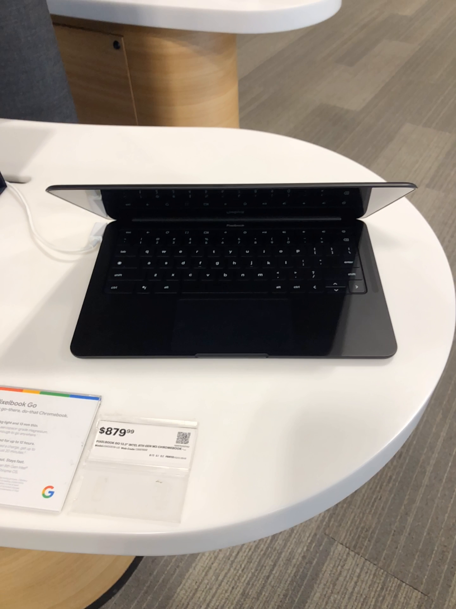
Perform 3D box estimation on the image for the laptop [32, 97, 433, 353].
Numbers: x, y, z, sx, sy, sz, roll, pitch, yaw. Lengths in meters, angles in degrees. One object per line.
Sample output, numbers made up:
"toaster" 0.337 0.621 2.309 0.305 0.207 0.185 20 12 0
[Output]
"laptop" 0.011 -0.078 0.468 0.278 0.146 0.192 0 46 0
